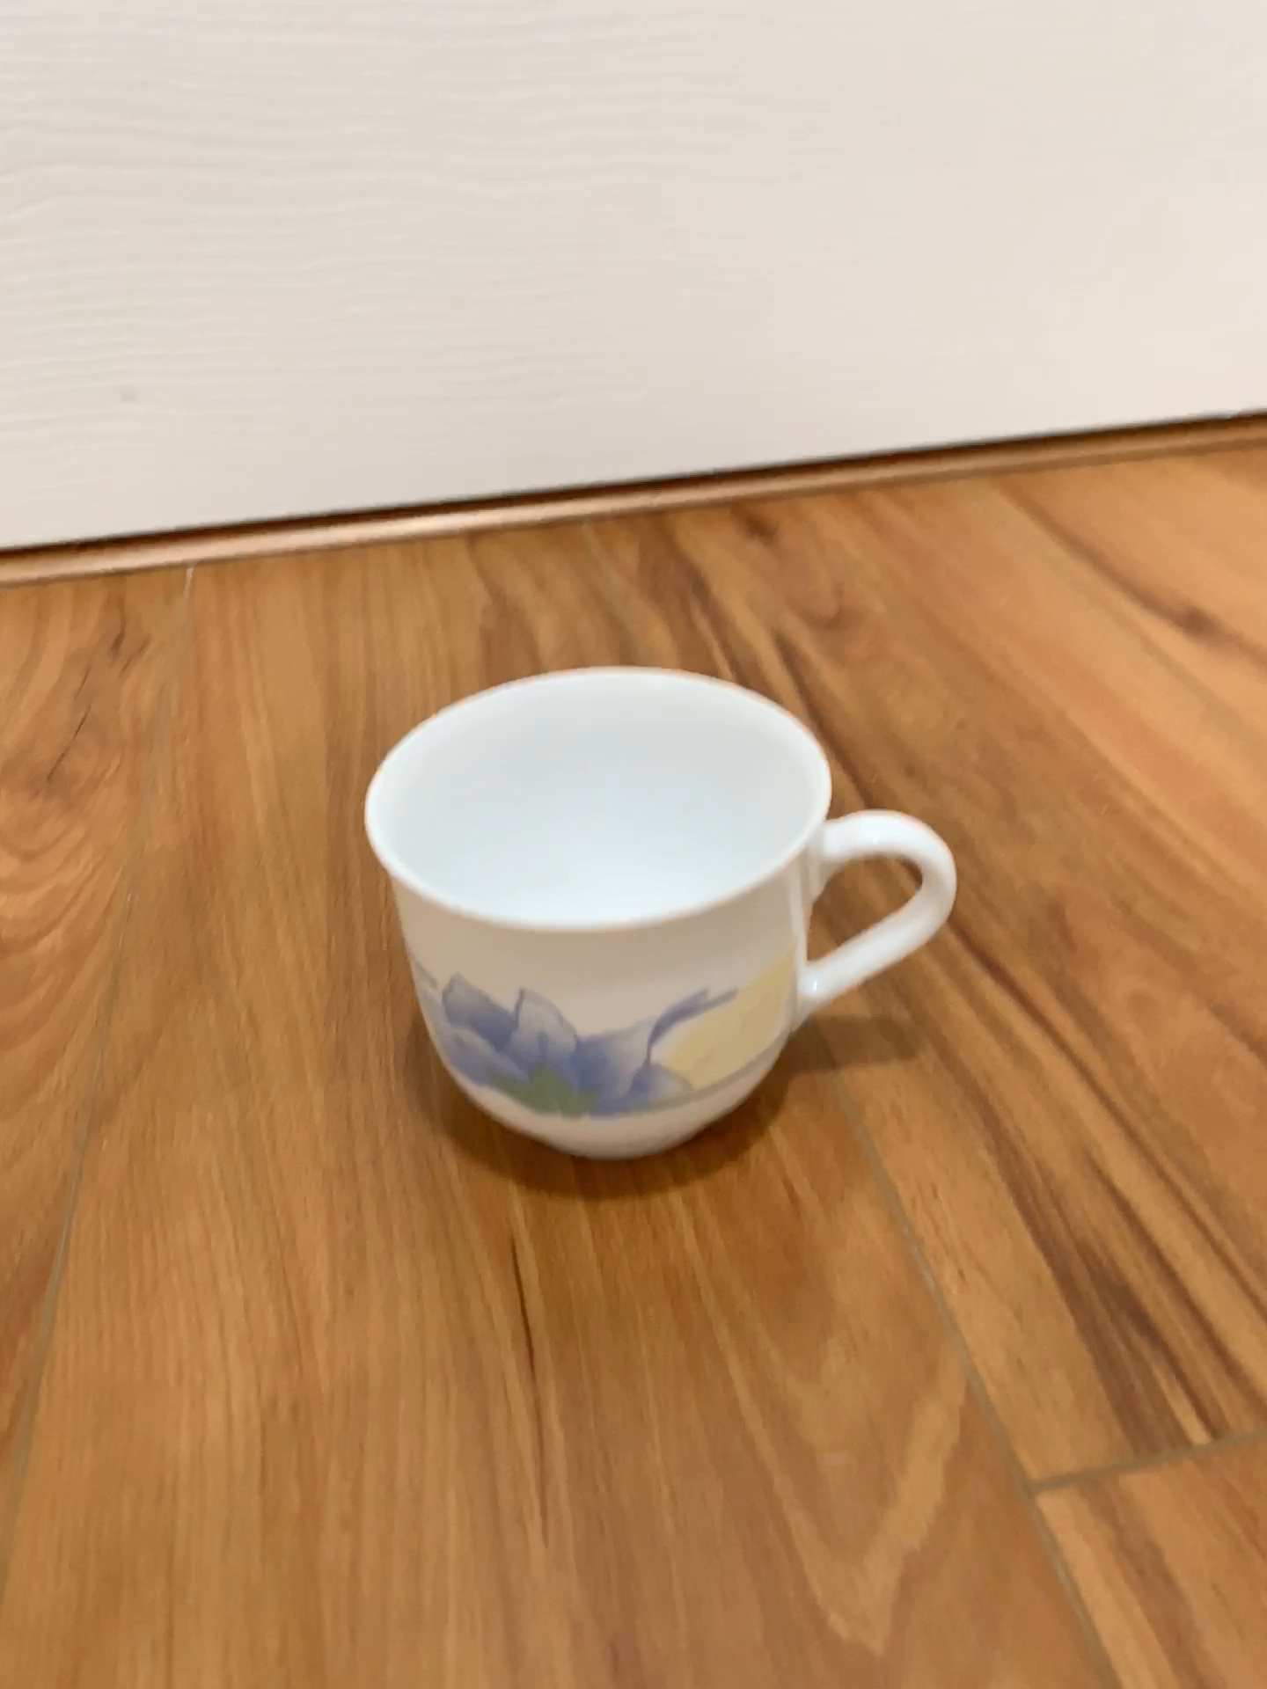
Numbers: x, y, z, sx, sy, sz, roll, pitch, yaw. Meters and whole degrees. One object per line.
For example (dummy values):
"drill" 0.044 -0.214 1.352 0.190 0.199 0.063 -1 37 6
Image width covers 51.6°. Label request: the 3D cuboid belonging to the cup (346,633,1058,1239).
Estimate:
"cup" 0.008 0.012 0.241 0.103 0.063 0.084 -5 35 -3
